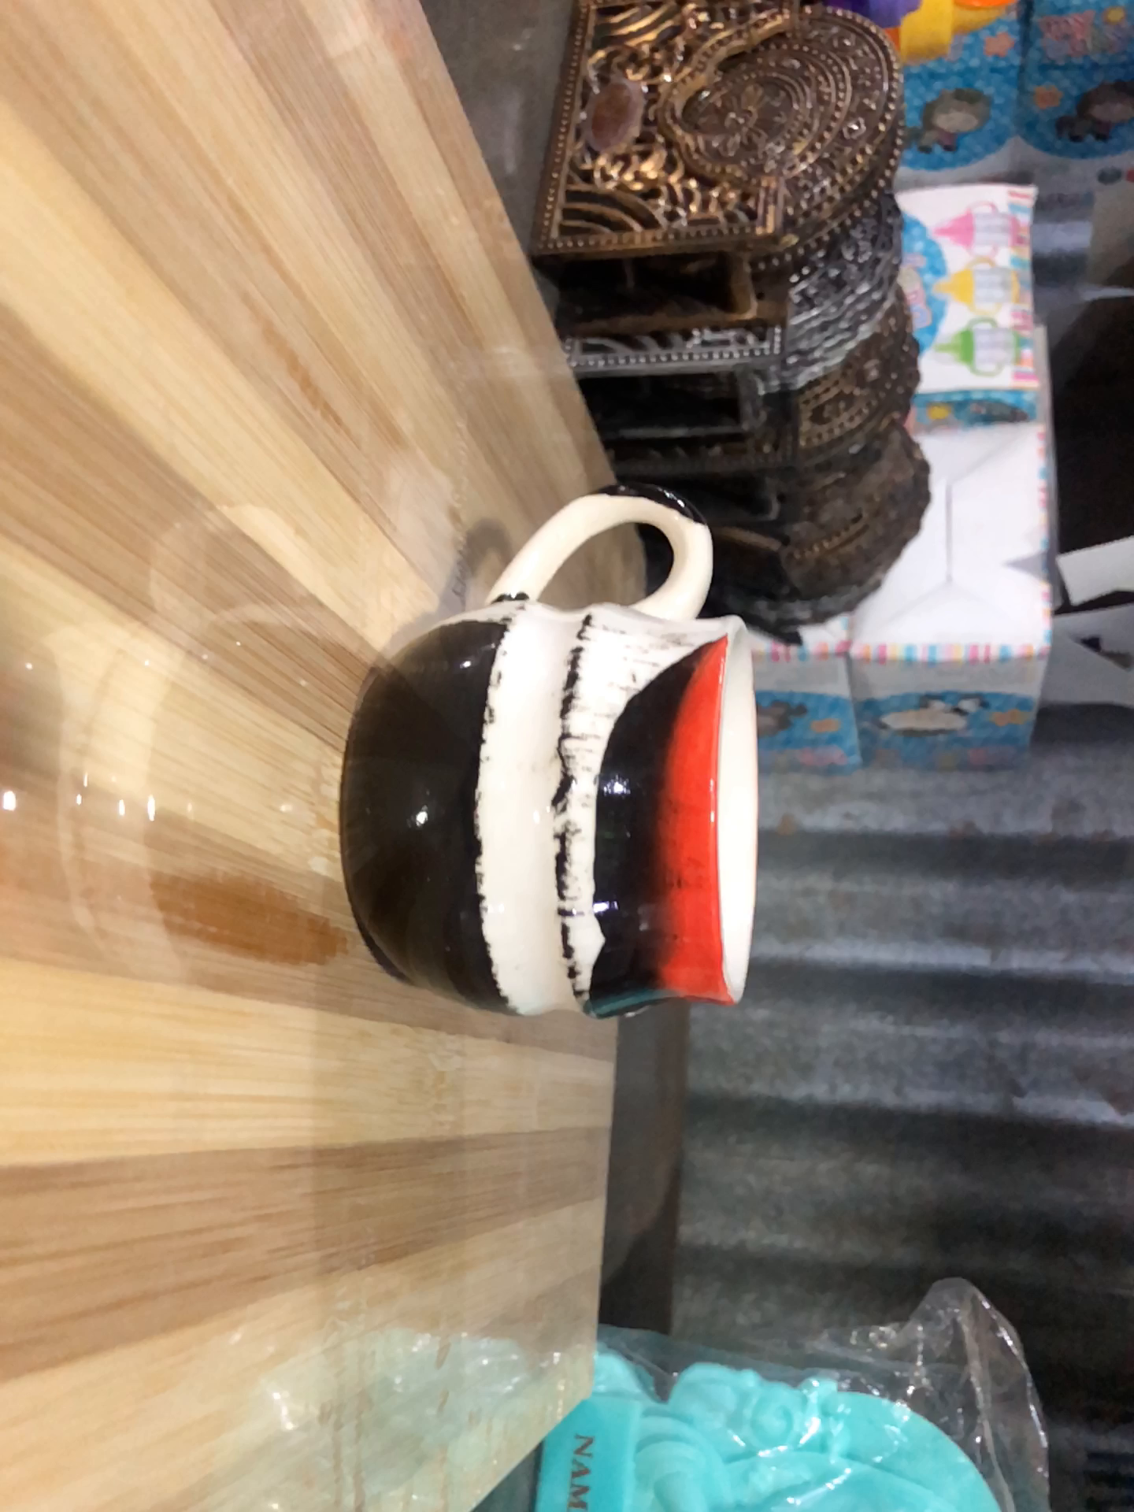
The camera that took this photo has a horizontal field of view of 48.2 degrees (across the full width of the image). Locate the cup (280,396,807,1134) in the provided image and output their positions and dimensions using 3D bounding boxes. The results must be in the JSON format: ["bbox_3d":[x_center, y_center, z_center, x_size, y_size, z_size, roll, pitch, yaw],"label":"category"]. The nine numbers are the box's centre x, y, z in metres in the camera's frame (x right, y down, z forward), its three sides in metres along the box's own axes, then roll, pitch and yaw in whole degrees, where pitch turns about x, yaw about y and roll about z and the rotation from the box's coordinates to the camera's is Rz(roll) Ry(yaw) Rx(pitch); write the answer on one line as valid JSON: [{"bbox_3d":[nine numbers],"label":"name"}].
[{"bbox_3d":[0.007,0.004,0.209,0.080,0.060,0.090,71,24,-57],"label":"cup"}]
